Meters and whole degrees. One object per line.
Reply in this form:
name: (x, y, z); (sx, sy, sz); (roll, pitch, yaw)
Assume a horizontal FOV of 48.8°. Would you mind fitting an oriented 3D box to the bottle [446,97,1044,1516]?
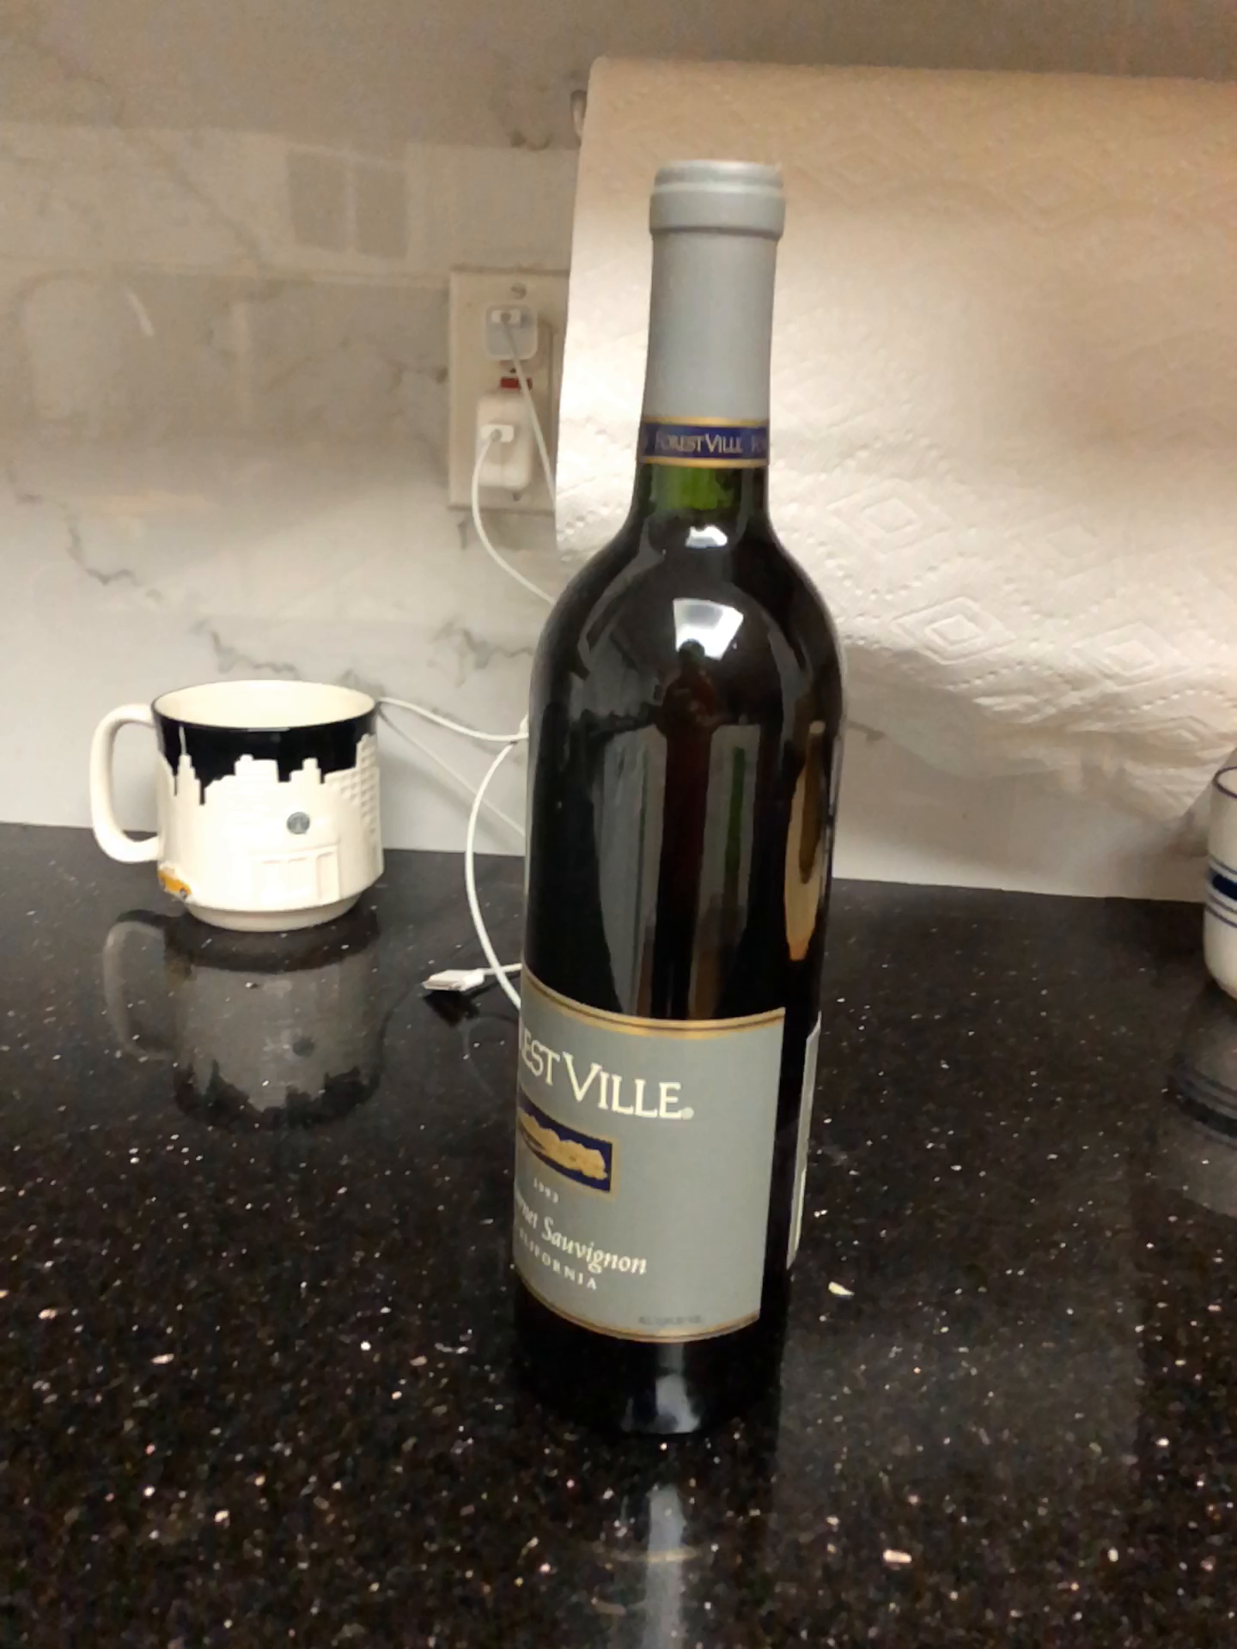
bottle: (0.020, 0.002, 0.331); (0.090, 0.299, 0.080); (-11, 23, -38)
